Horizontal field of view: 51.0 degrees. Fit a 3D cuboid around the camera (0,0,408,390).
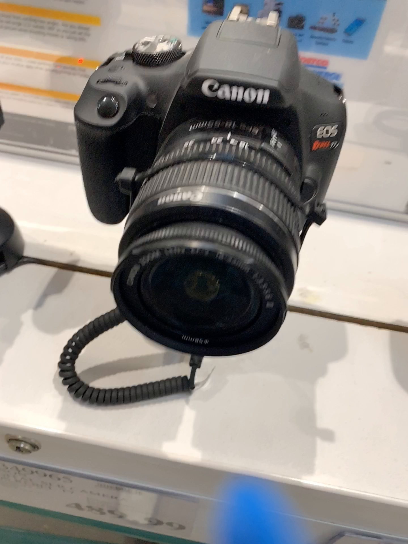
[{"bbox_3d":[0.003,-0.047,0.182,0.130,0.089,0.141,10,45,2],"label":"camera"}]
